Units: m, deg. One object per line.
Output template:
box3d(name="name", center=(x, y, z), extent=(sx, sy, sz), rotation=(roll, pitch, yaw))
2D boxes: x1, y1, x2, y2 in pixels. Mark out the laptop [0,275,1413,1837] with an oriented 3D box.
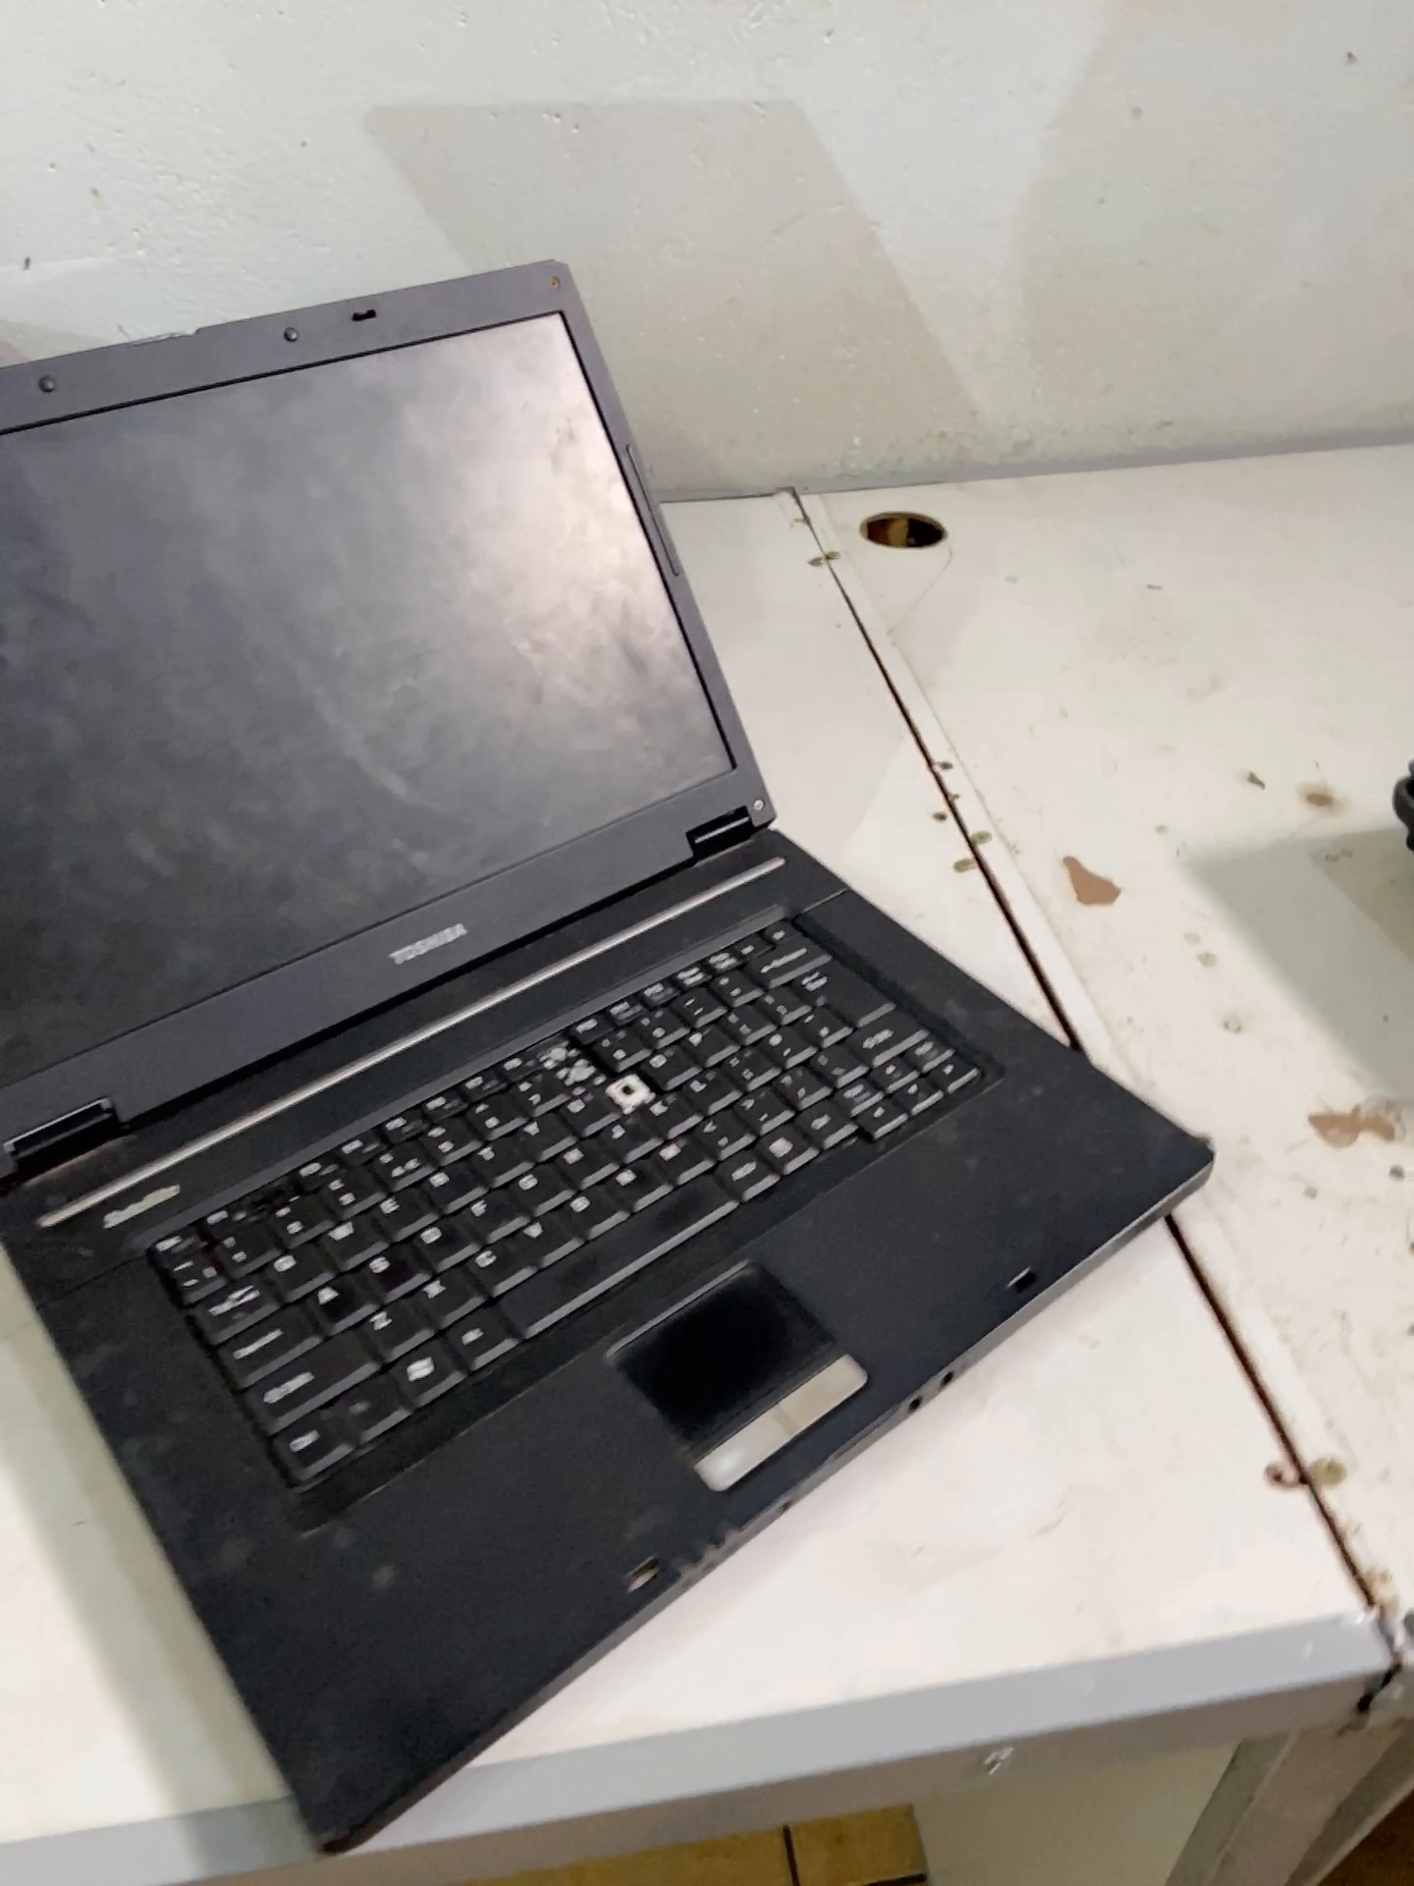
box3d(name="laptop", center=(-0.075, -0.035, 0.494), extent=(0.357, 0.212, 0.403), rotation=(-27, 47, -28))
